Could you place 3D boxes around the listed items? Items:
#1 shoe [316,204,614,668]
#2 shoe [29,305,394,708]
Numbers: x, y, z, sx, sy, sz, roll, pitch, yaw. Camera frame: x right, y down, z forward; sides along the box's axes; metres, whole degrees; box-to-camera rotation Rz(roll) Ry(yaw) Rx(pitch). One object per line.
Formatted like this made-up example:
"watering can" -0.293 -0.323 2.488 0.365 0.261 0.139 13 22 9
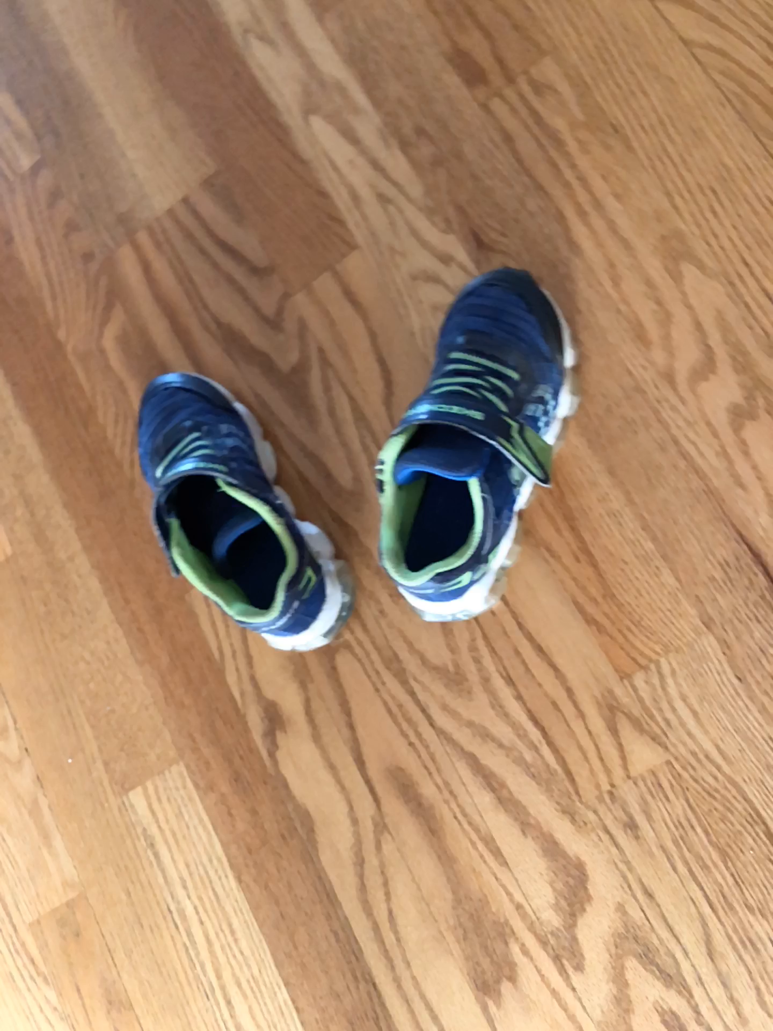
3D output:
"shoe" 0.046 -0.039 0.454 0.093 0.087 0.212 13 90 19
"shoe" -0.102 -0.005 0.506 0.093 0.095 0.203 -37 75 13
